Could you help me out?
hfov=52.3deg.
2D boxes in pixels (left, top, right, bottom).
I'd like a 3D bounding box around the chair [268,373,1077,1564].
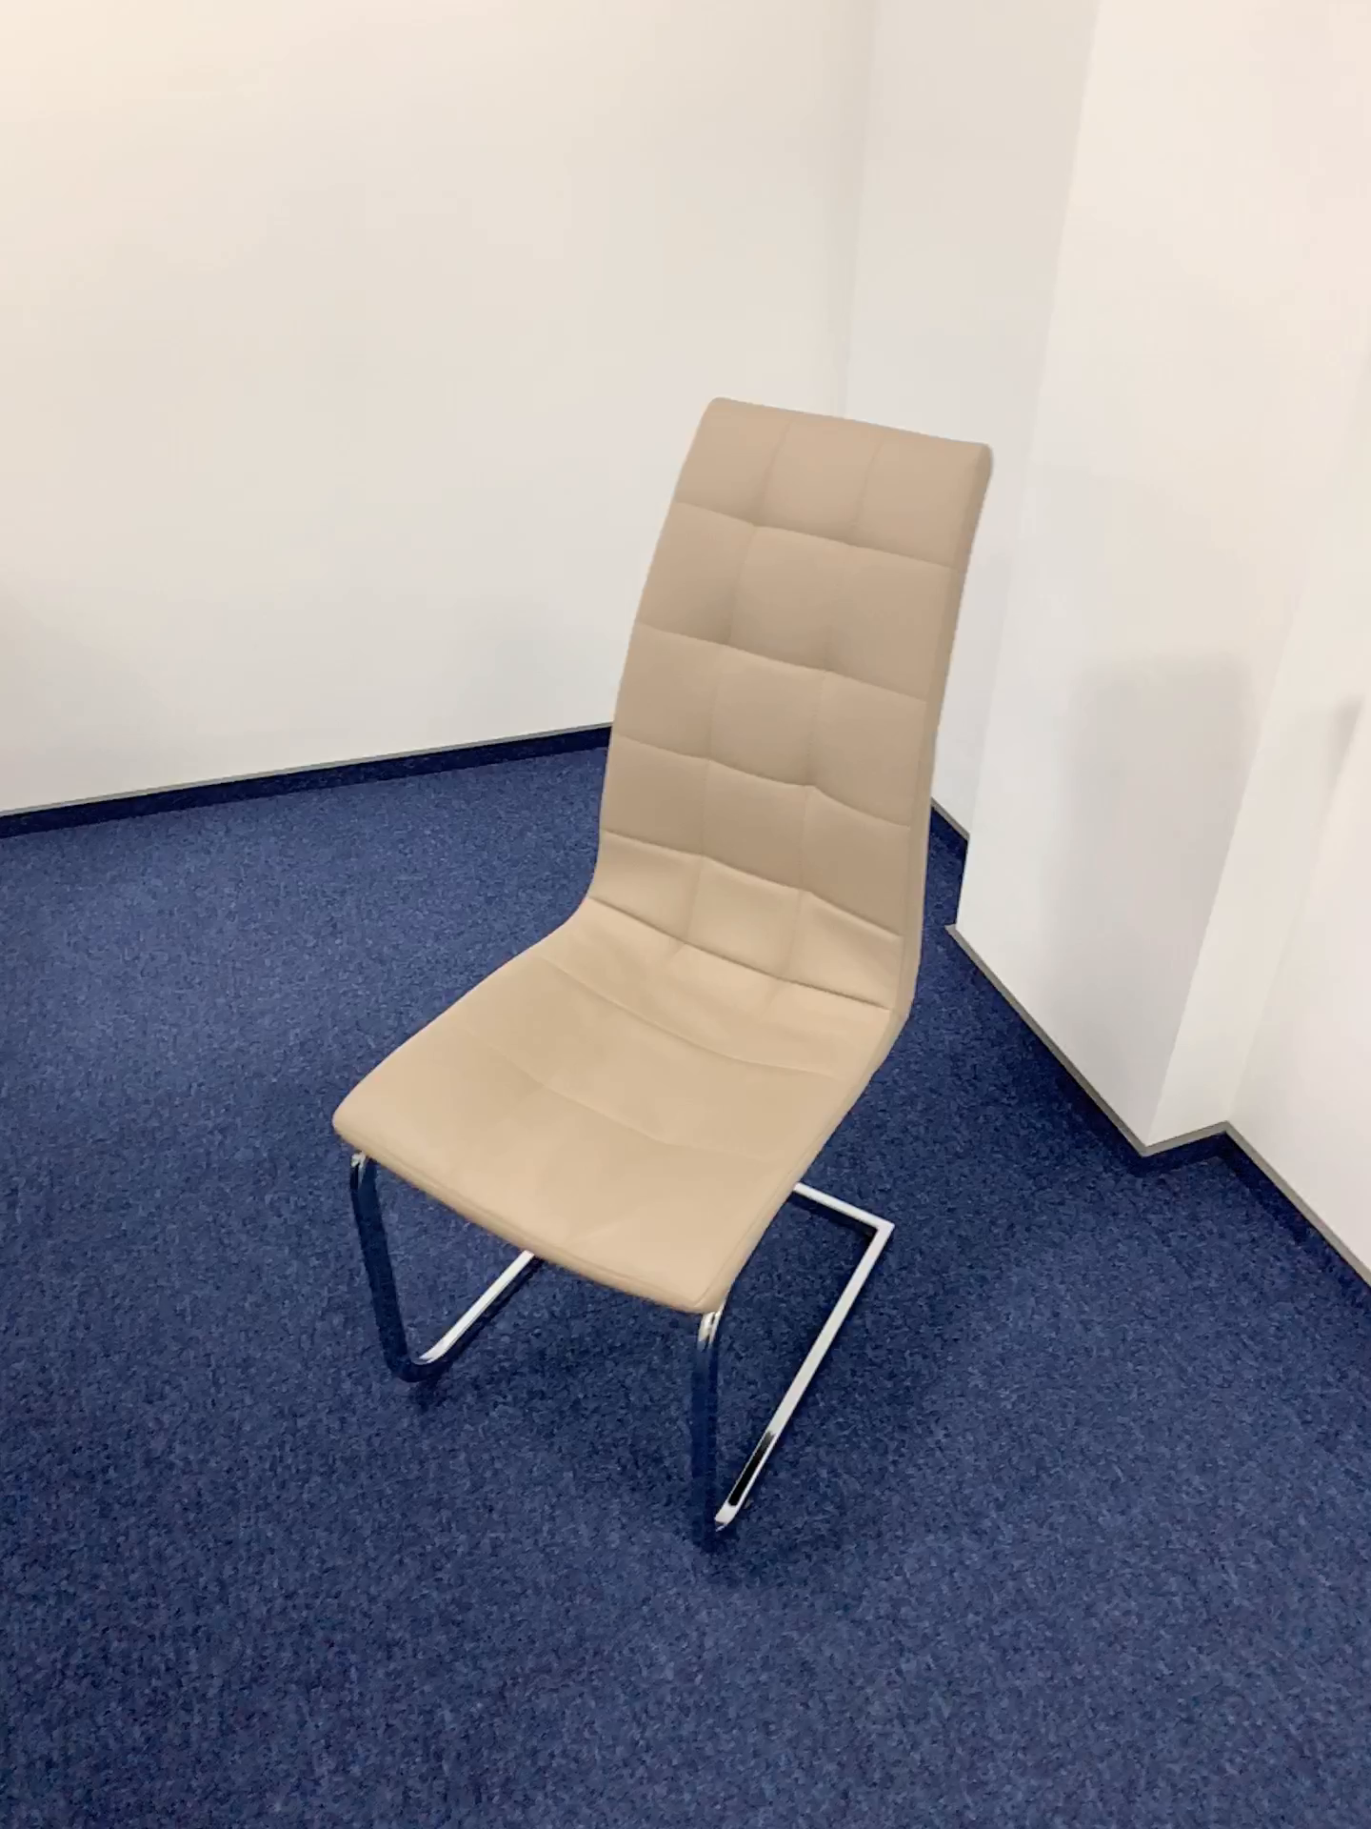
[{"bbox_3d":[0.011,0.056,1.410,0.440,0.984,0.532,20,39,25],"label":"chair"}]
